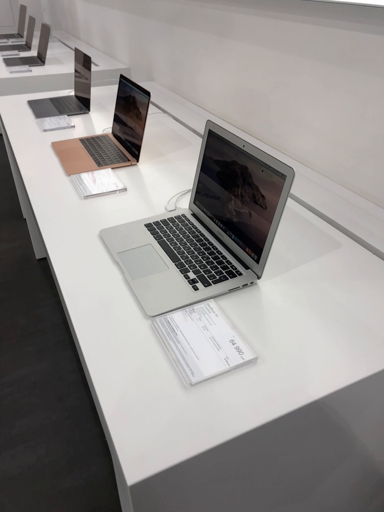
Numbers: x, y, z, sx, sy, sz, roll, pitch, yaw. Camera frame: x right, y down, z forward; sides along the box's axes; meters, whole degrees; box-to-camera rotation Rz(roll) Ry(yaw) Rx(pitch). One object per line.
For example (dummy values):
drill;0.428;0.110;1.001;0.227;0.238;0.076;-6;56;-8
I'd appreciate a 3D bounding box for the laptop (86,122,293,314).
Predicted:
laptop;-0.022;-0.100;0.824;0.270;0.207;0.316;-15;36;-20
